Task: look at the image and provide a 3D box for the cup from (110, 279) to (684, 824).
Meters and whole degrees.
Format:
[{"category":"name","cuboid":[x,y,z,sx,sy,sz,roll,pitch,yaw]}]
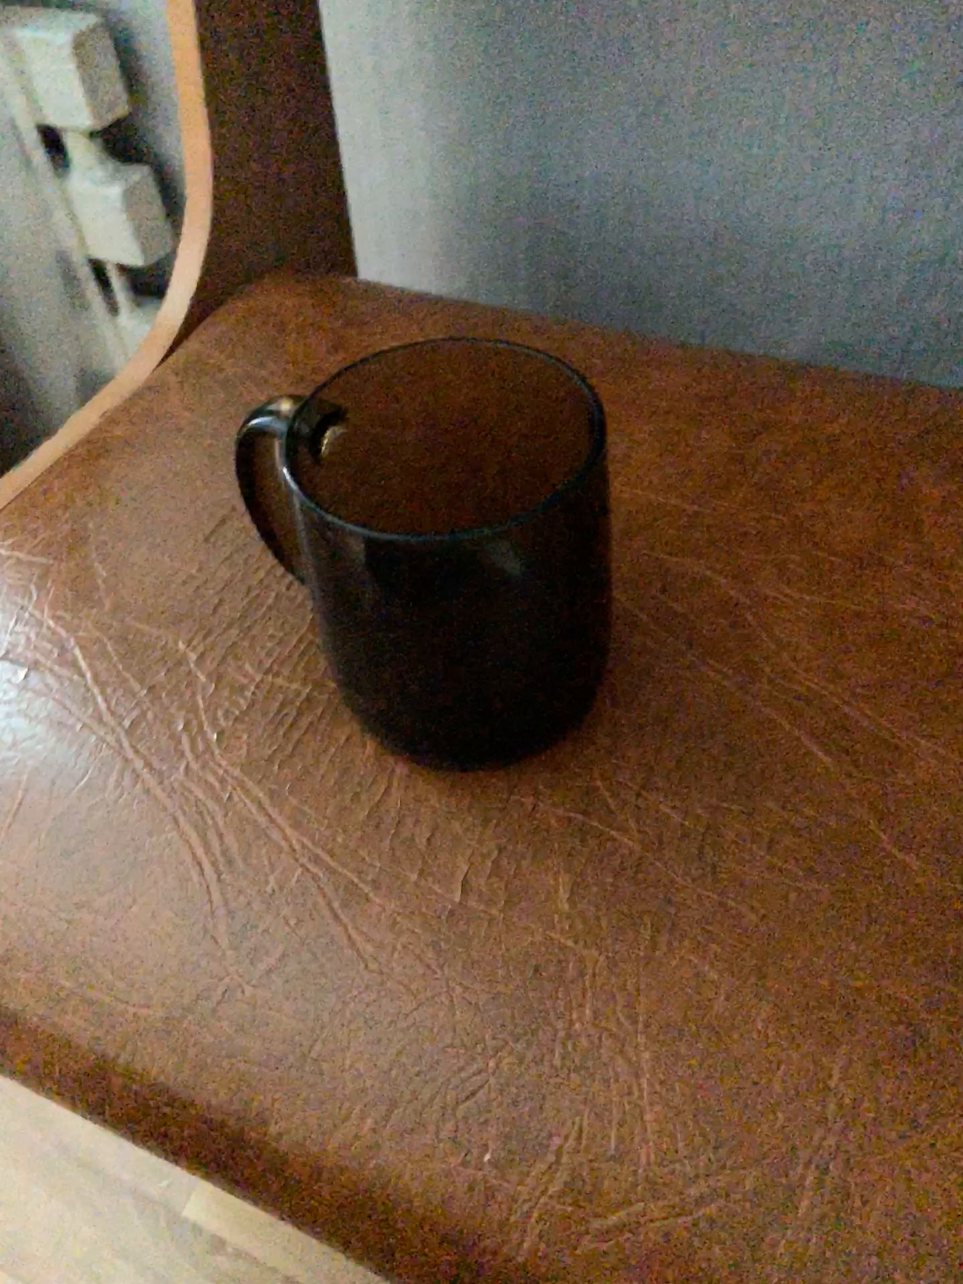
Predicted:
[{"category":"cup","cuboid":[-0.019,-0.029,0.282,0.120,0.089,0.080,24,54,24]}]
